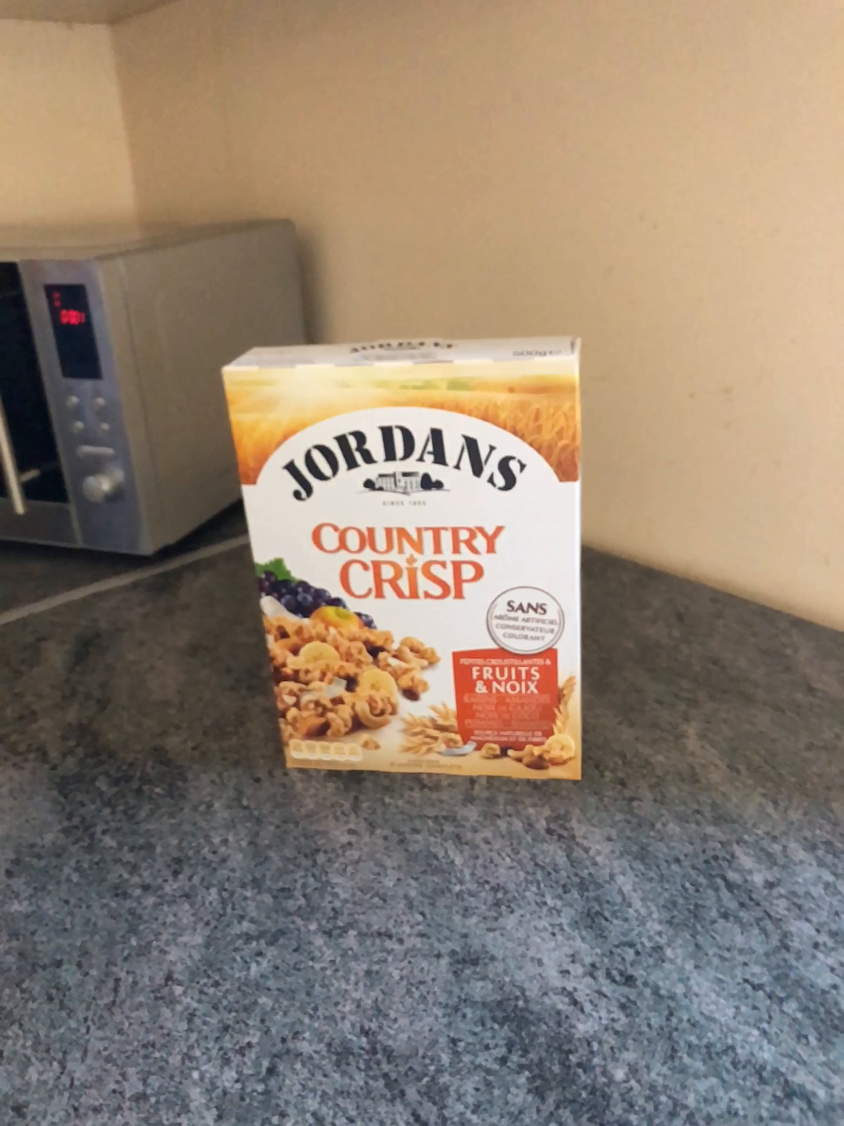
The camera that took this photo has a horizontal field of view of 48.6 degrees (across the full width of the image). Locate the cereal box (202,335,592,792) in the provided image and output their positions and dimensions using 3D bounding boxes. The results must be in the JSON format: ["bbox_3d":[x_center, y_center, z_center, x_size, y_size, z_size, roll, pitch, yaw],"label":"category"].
[{"bbox_3d":[-0.005,0.004,0.528,0.190,0.249,0.060,1,25,8],"label":"cereal box"}]
